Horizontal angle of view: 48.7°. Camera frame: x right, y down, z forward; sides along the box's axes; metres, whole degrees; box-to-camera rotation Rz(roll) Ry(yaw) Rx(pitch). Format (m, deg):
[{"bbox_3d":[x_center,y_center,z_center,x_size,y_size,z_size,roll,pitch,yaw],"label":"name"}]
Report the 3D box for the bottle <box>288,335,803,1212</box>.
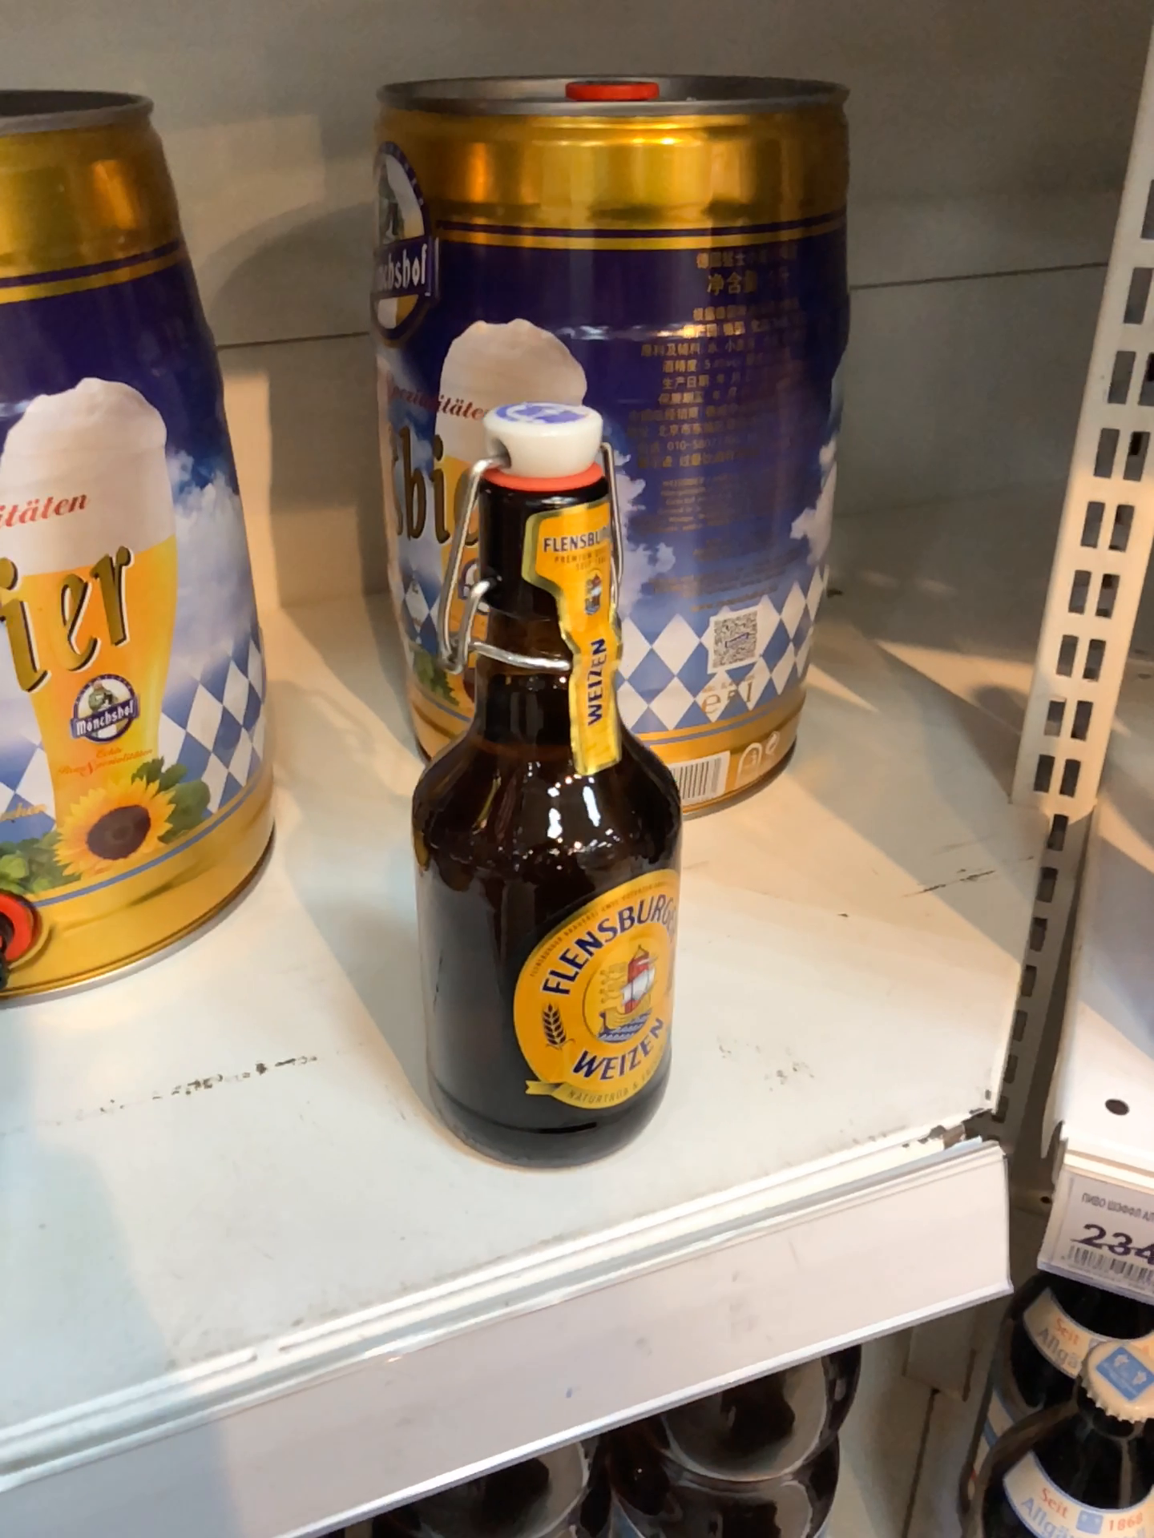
[{"bbox_3d":[-0.008,0.001,0.319,0.080,0.189,0.080,-1,31,0],"label":"bottle"}]
